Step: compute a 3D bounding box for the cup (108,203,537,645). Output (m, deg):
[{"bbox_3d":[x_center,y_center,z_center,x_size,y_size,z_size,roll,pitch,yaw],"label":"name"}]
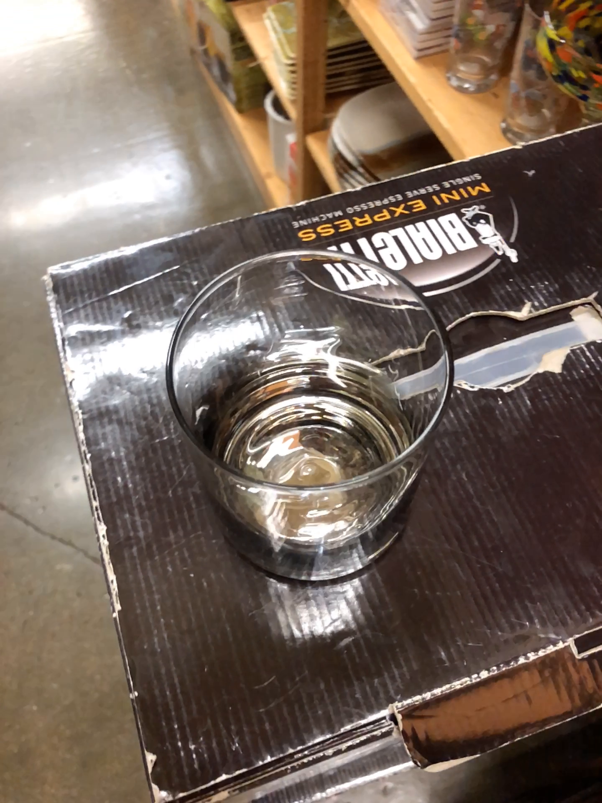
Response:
[{"bbox_3d":[0.008,0.011,0.231,0.085,0.093,0.089,0,60,1],"label":"cup"}]
